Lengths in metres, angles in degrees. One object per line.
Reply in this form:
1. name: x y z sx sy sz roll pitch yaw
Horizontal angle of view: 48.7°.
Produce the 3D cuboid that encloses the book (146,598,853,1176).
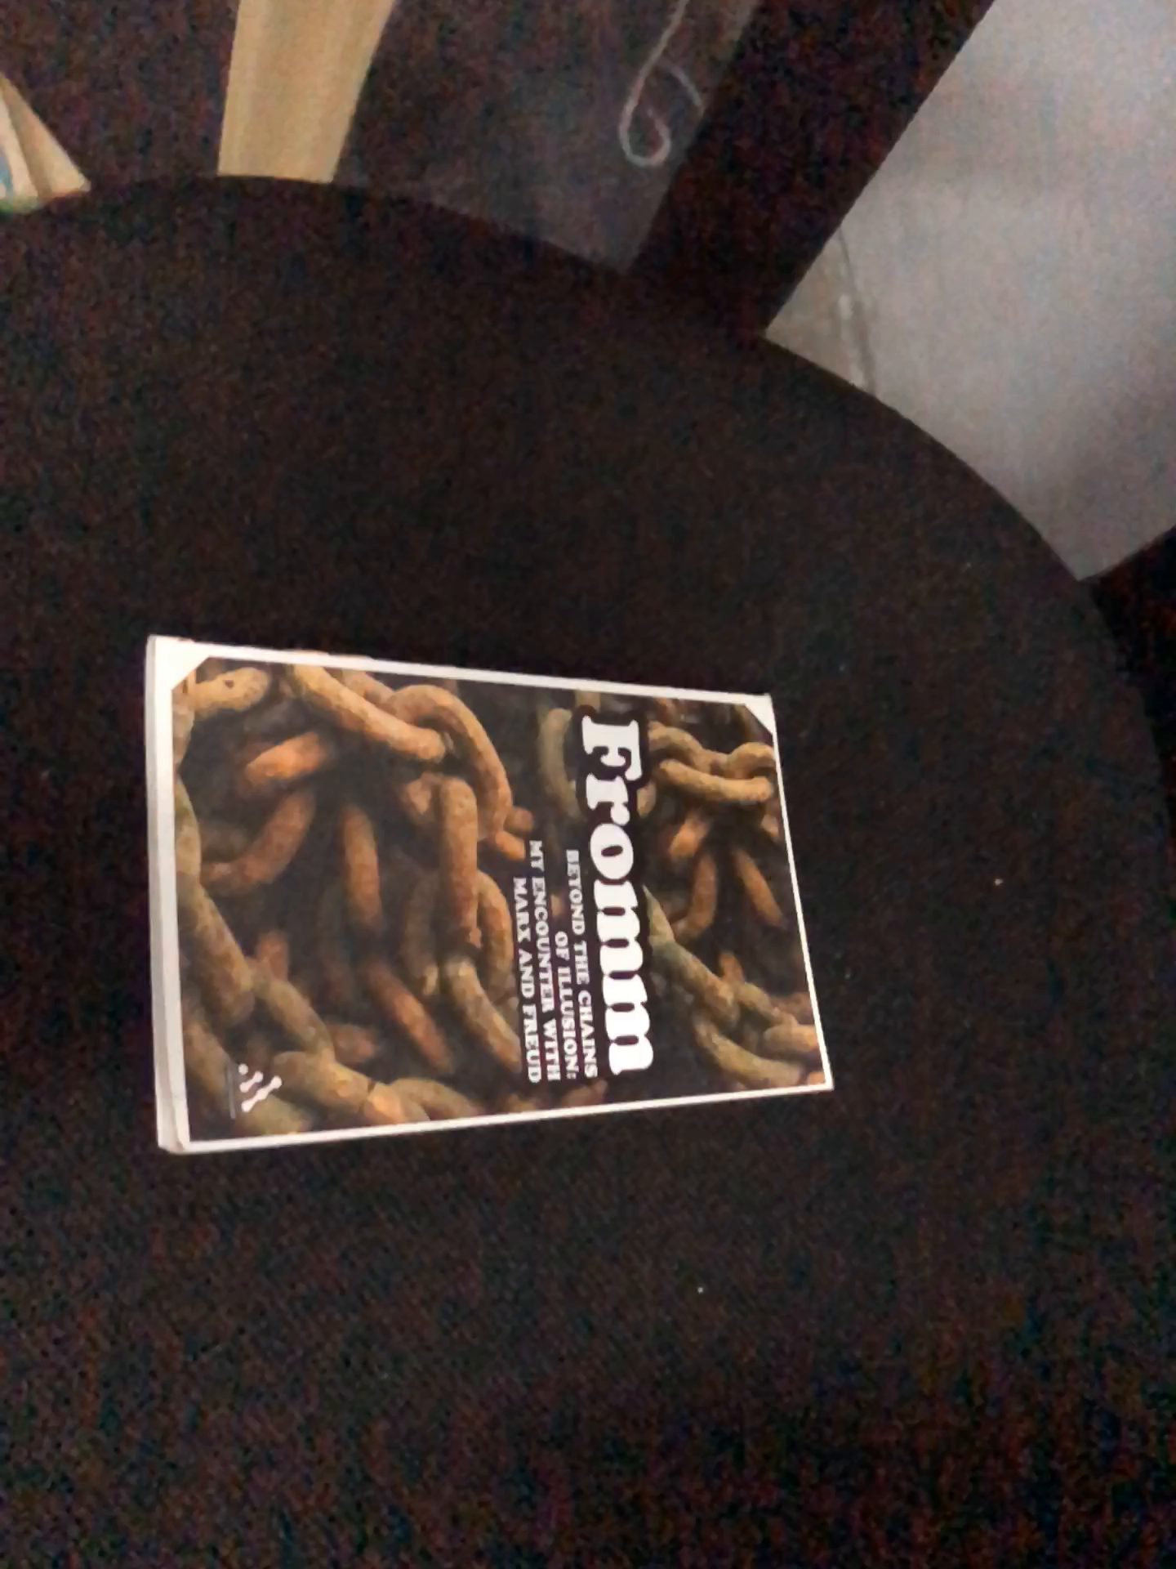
1. book: -0.020 0.027 0.365 0.195 0.016 0.144 4 69 -27
